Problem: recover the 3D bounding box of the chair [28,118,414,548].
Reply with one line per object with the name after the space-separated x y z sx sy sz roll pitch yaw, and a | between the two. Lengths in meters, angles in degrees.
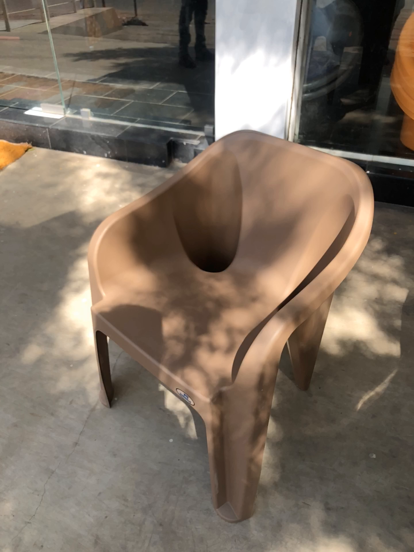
0.095 0.064 1.216 0.641 0.637 0.723 30 47 33 | chair
